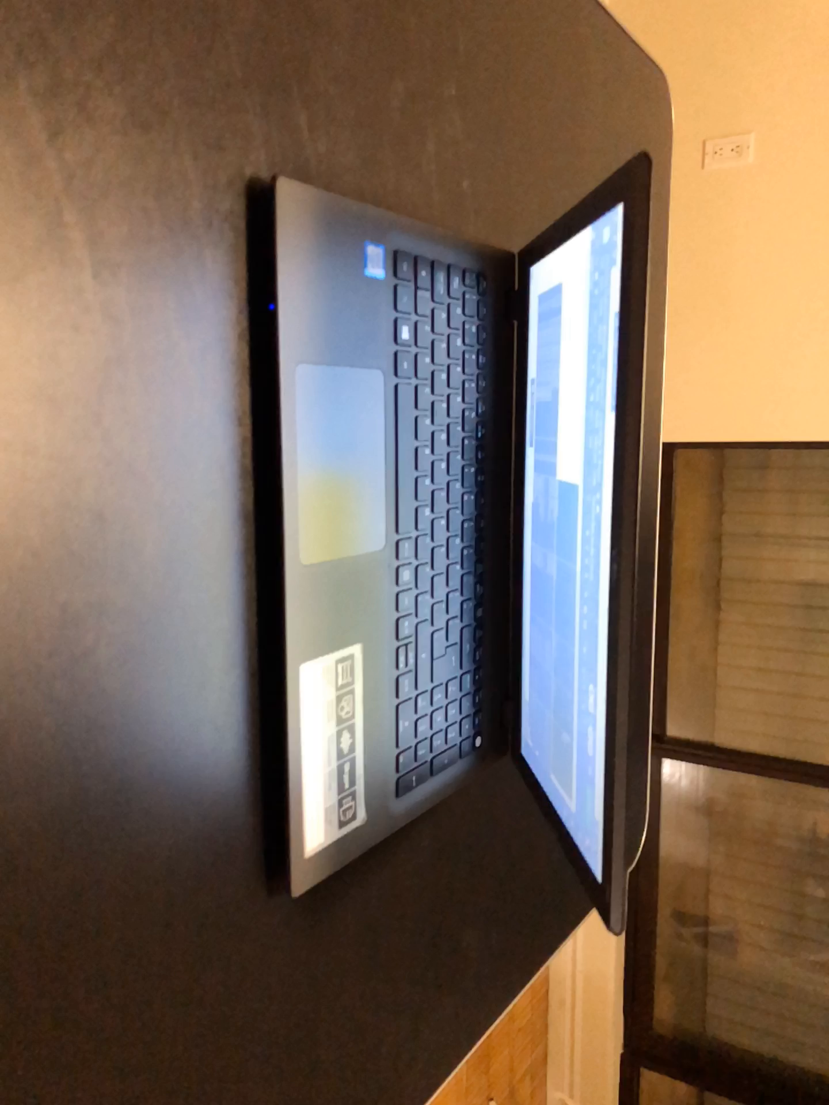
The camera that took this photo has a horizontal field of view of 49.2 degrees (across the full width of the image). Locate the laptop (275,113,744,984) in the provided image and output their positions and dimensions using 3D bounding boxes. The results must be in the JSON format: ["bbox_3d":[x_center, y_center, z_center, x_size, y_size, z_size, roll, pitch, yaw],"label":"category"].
[{"bbox_3d":[0.069,-0.010,0.525,0.252,0.155,0.368,-13,105,-56],"label":"laptop"}]
